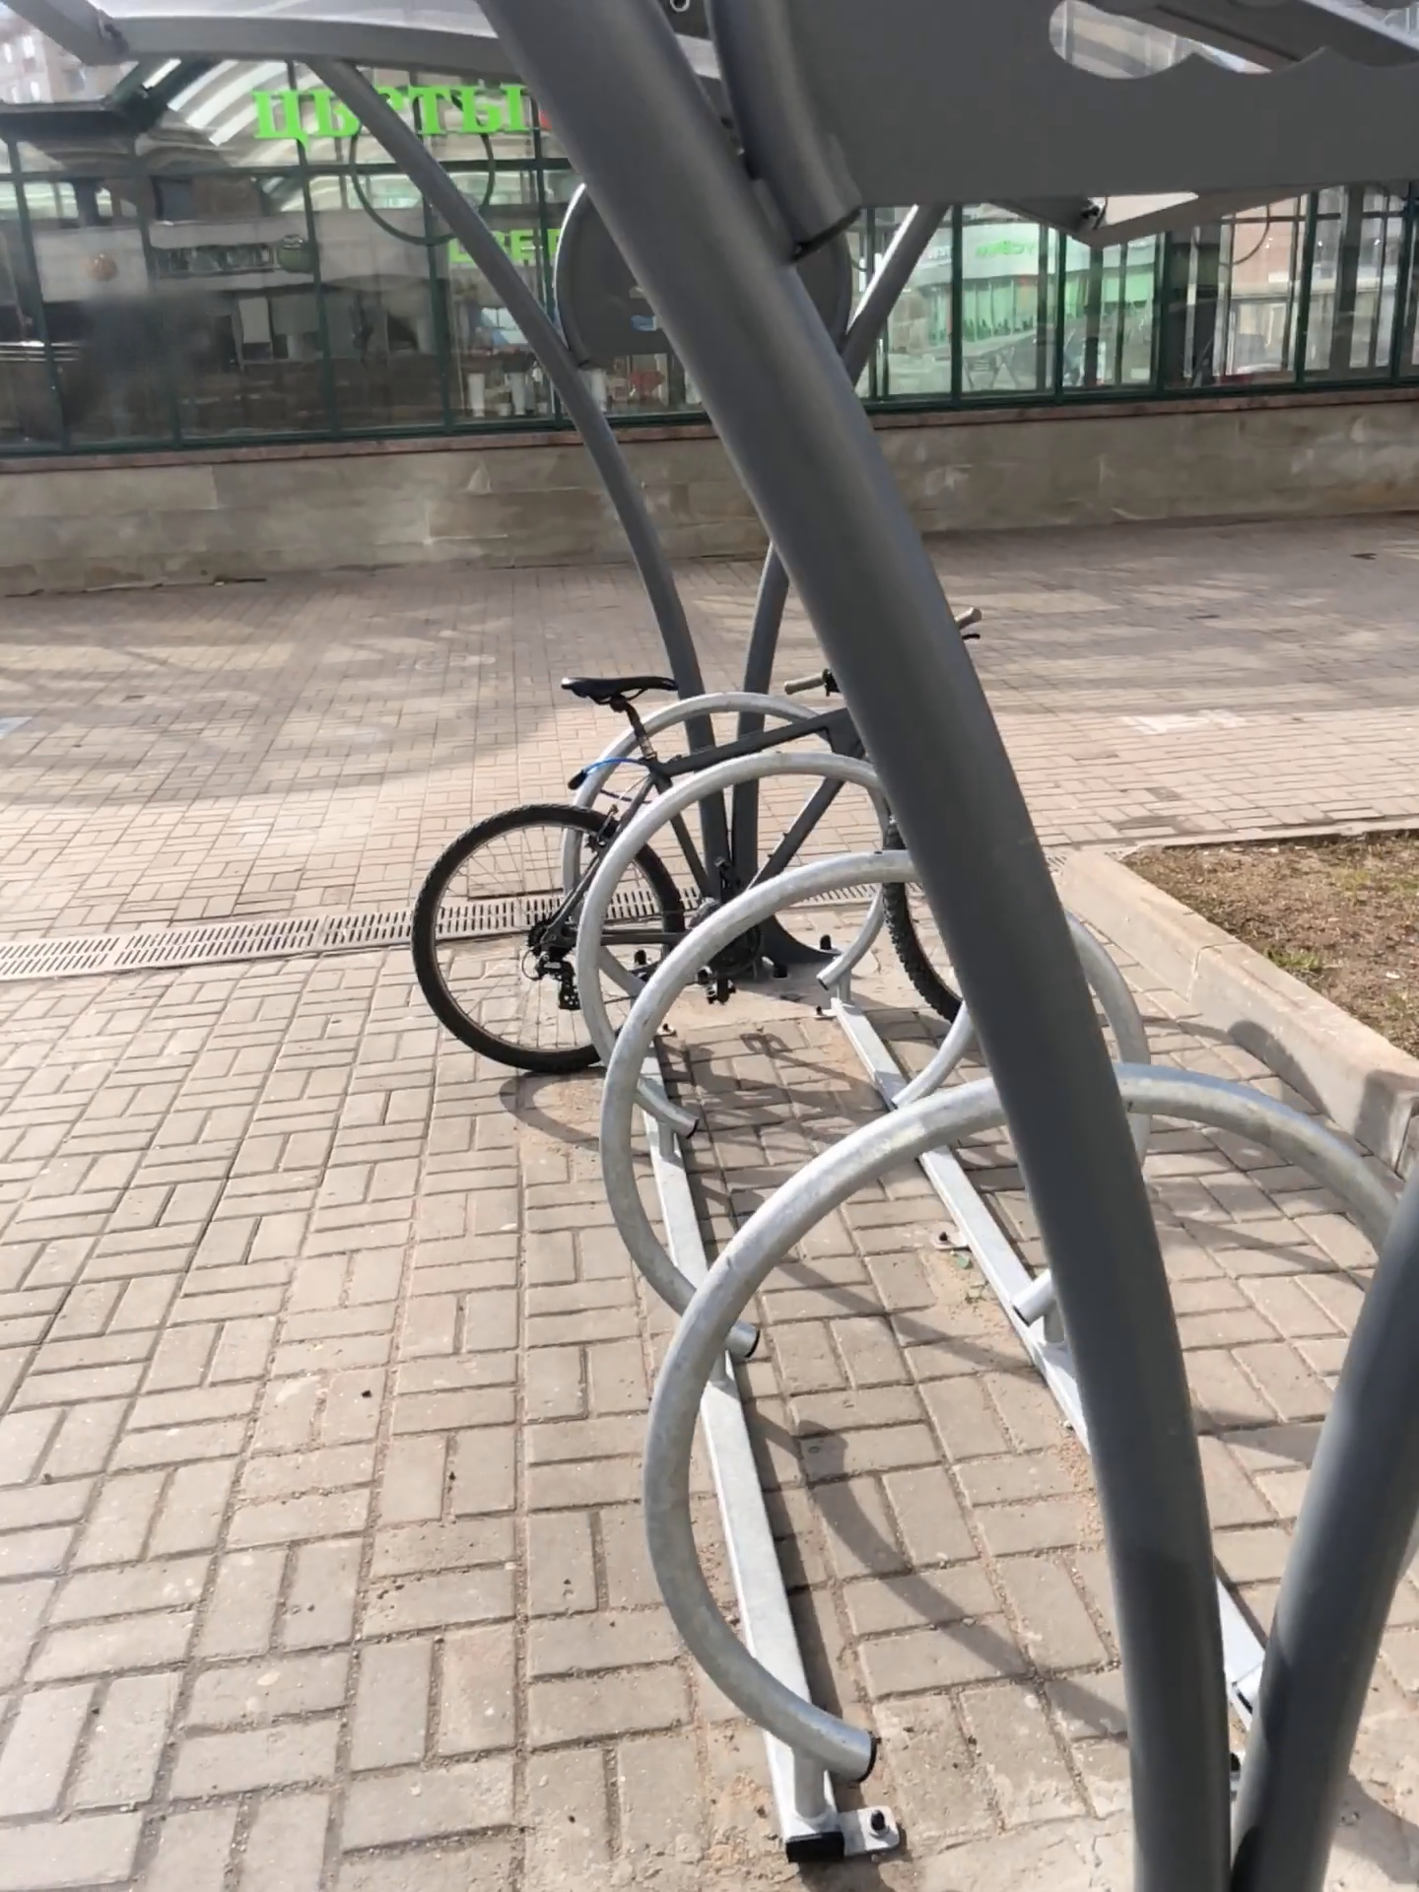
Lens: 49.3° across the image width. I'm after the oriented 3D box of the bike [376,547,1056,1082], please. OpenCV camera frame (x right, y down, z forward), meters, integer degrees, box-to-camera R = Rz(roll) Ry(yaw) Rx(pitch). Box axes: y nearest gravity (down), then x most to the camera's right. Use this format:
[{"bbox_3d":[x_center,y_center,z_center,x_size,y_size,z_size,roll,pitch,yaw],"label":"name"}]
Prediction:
[{"bbox_3d":[0.063,-0.389,3.899,1.611,0.980,0.563,-10,20,-14],"label":"bike"}]
